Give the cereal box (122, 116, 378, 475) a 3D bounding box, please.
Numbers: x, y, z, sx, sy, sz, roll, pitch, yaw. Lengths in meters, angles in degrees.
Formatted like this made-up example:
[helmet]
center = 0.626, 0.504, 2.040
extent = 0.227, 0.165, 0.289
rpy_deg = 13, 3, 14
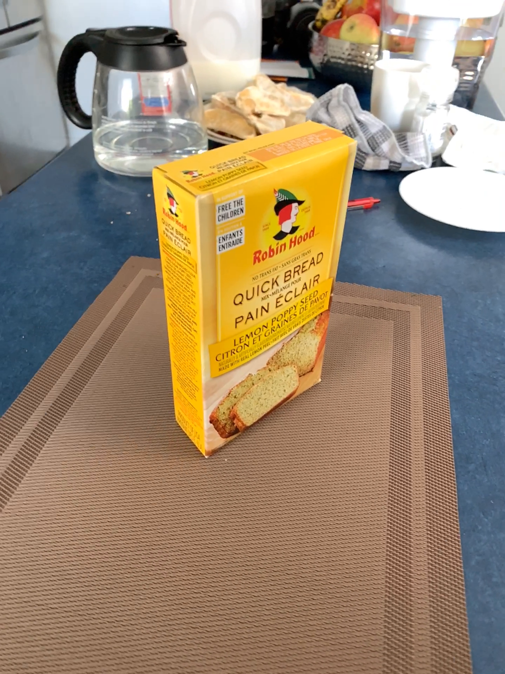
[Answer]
[cereal box]
center = 0.003, -0.021, 0.310
extent = 0.131, 0.178, 0.040
rpy_deg = -28, 47, -31
